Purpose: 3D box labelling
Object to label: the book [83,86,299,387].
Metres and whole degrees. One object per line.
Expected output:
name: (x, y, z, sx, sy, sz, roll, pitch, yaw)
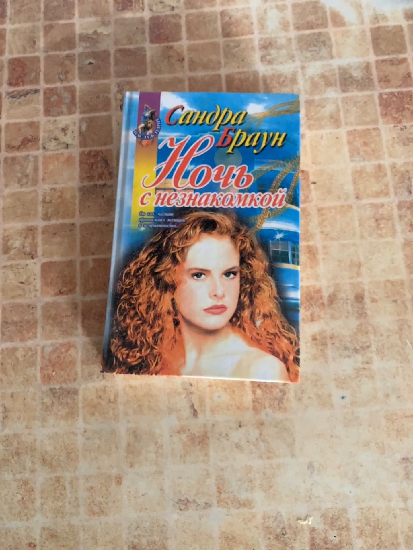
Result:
book: (-0.005, -0.030, 0.290, 0.130, 0.029, 0.198, 2, 79, 3)
